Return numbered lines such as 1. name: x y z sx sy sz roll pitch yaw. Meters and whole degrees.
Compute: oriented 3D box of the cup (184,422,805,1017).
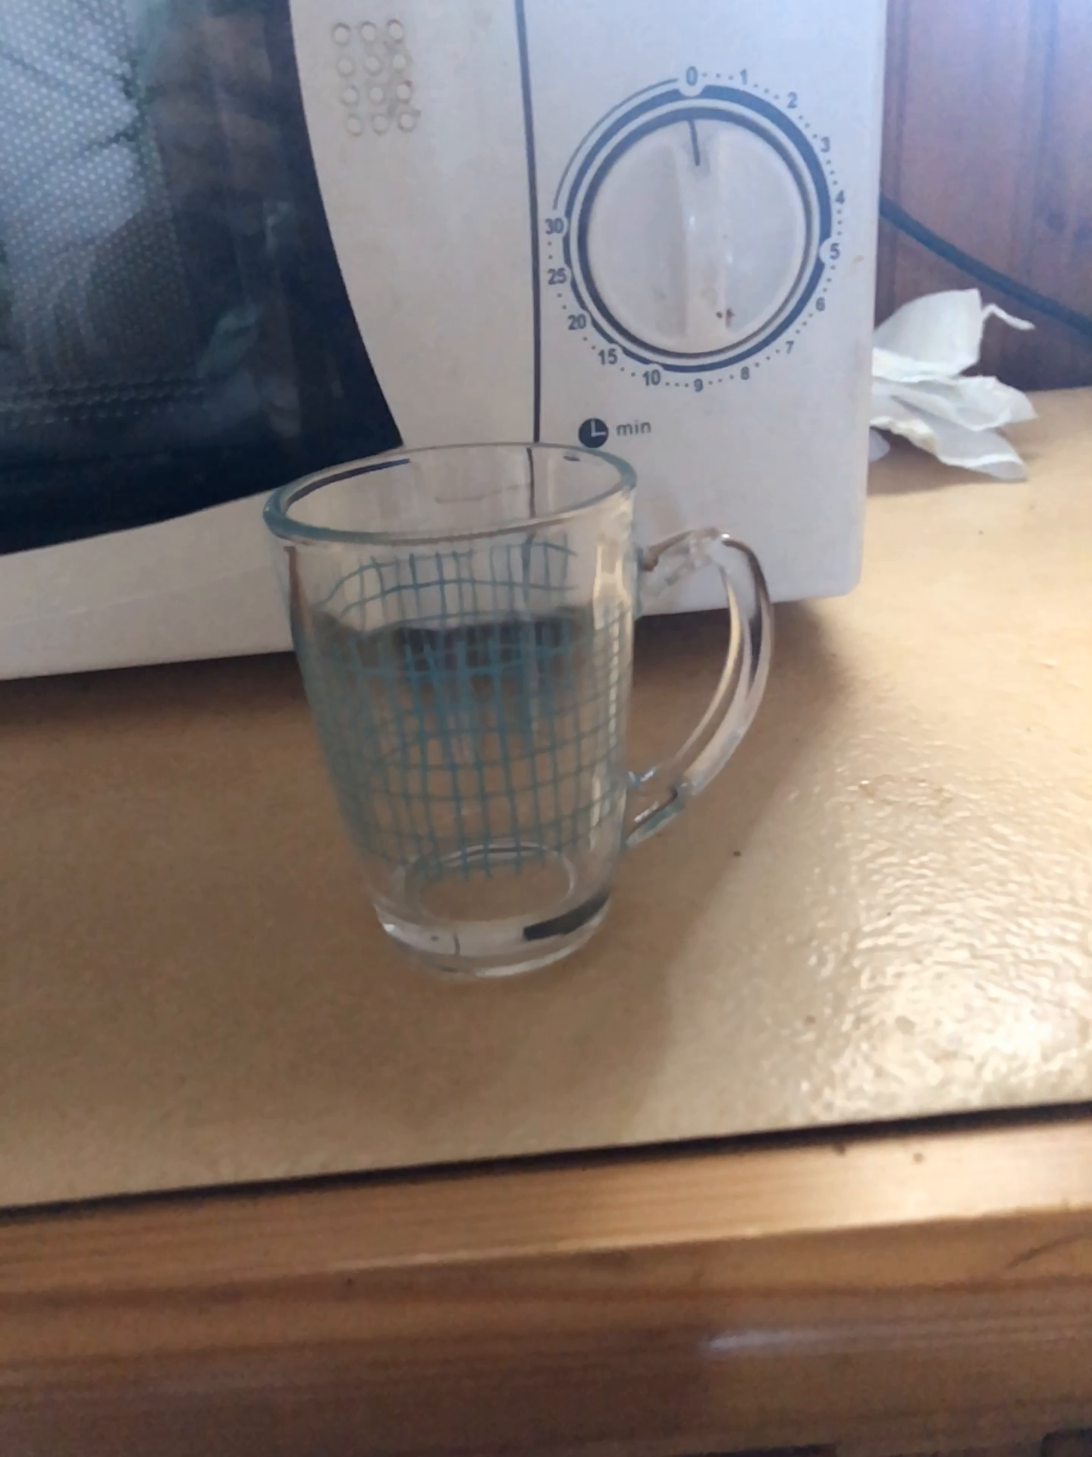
1. cup: -0.006 -0.005 0.198 0.080 0.070 0.060 -6 26 -3
